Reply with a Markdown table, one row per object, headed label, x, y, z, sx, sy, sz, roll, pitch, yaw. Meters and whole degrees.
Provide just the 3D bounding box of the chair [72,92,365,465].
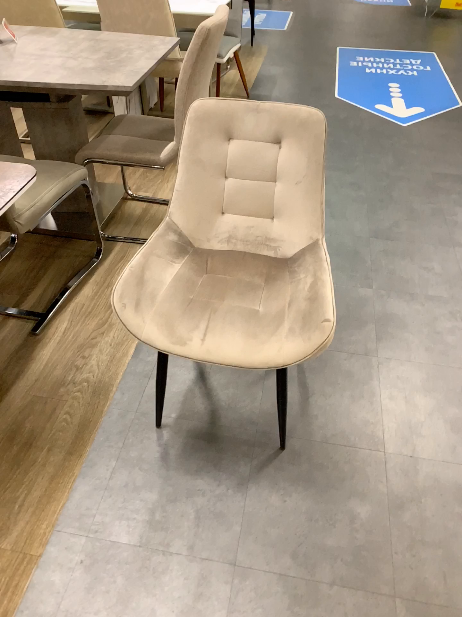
| label | x | y | z | sx | sy | sz | roll | pitch | yaw |
| --- | --- | --- | --- | --- | --- | --- | --- | --- | --- |
| chair | 0.022 | -0.086 | 1.390 | 0.566 | 0.817 | 0.613 | 9 | 42 | 9 |
